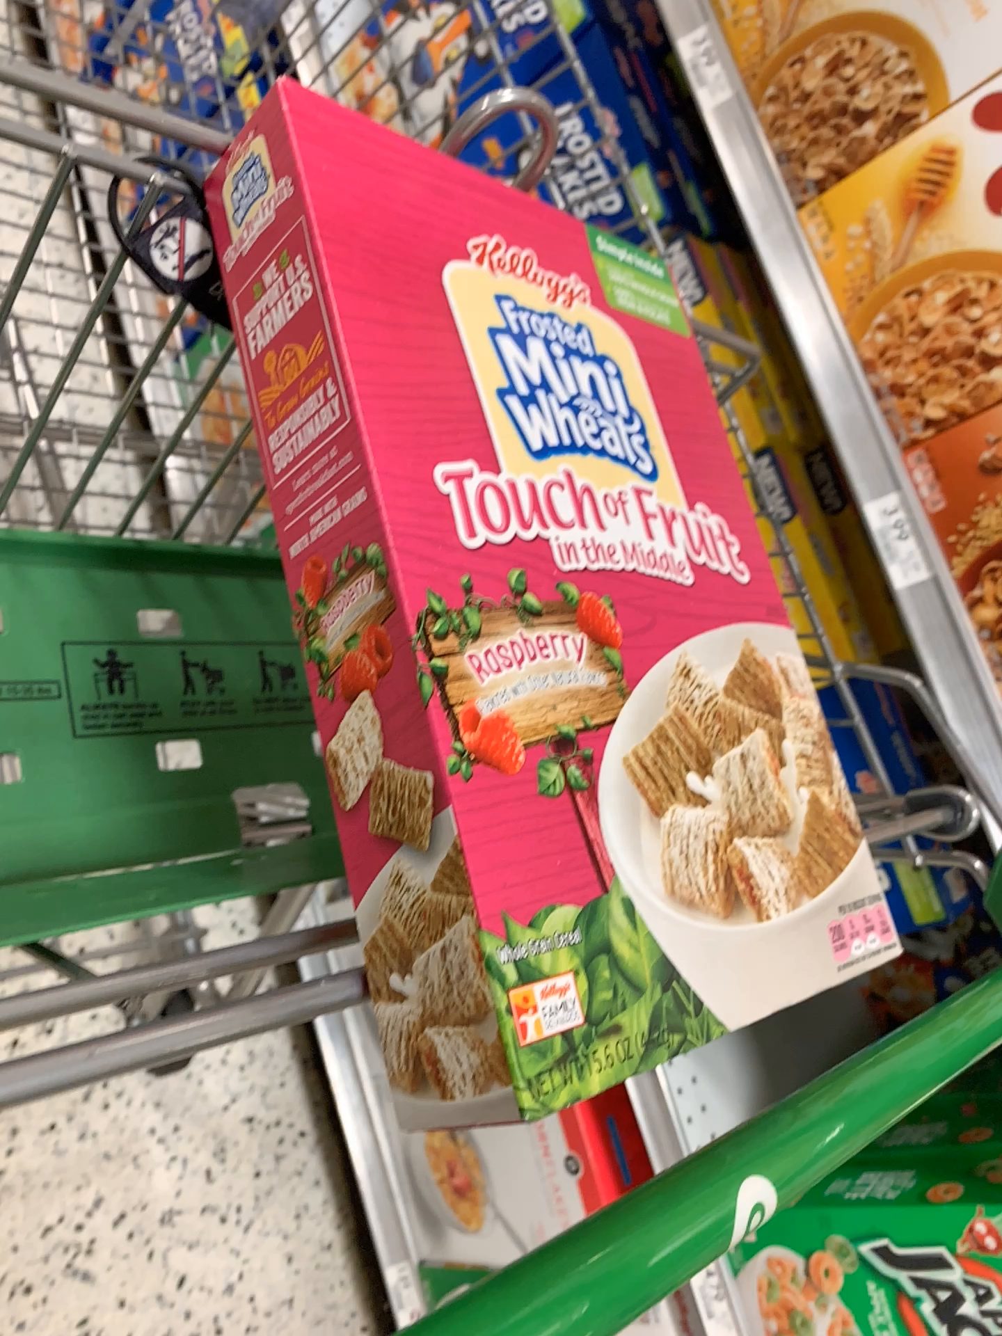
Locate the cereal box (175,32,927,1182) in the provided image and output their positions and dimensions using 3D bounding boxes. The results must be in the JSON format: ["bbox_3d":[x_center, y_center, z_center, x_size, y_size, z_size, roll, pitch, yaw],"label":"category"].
[{"bbox_3d":[0.024,-0.026,0.334,0.201,0.050,0.291,1,69,-46],"label":"cereal box"}]
